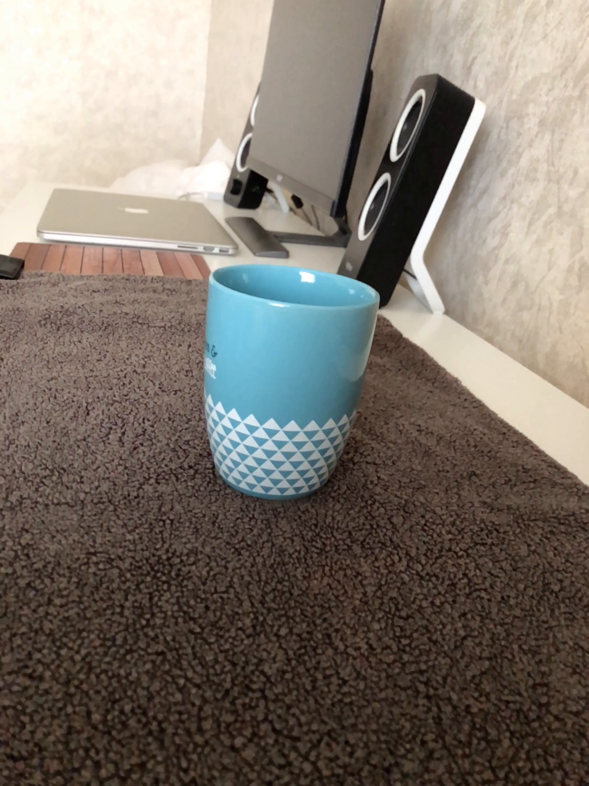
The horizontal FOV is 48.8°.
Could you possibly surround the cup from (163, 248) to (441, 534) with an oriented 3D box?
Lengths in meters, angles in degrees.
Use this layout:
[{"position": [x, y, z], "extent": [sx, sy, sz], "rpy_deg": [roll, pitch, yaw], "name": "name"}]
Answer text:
[{"position": [-0.008, -0.010, 0.317], "extent": [0.087, 0.090, 0.126], "rpy_deg": [-1, 24, -21], "name": "cup"}]
